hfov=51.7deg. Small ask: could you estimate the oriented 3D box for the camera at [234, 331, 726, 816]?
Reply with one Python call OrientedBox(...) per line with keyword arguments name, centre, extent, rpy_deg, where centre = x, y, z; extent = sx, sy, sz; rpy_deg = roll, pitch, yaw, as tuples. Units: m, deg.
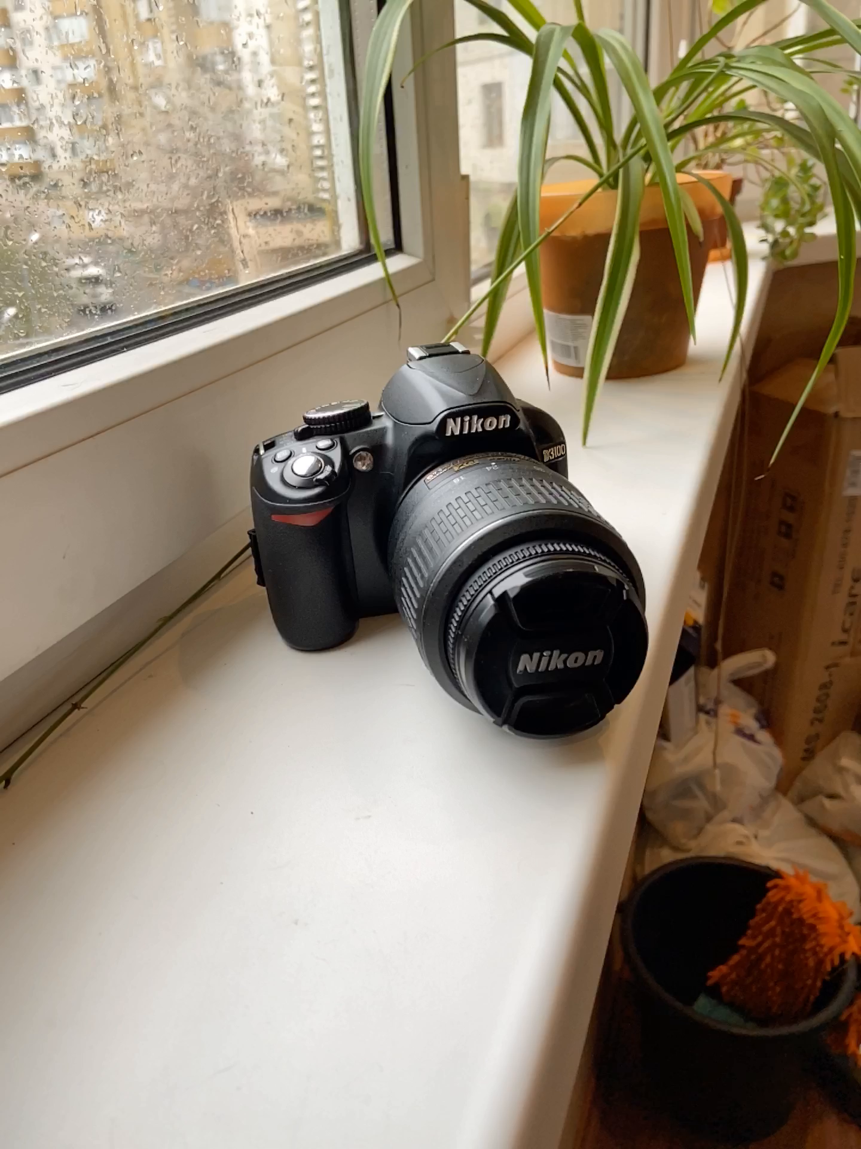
OrientedBox(name="camera", centre=(0.002, -0.017, 0.307), extent=(0.122, 0.092, 0.159), rpy_deg=(-9, 27, -10))
